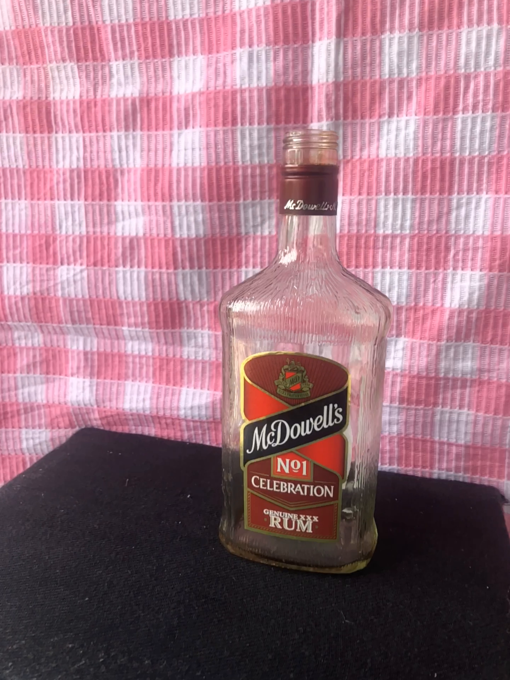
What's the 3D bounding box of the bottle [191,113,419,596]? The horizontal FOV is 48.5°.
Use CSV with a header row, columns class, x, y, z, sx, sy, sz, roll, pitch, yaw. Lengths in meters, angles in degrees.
class,x,y,z,sx,sy,sz,roll,pitch,yaw
bottle,0.023,0.009,0.307,0.100,0.239,0.060,5,16,11
